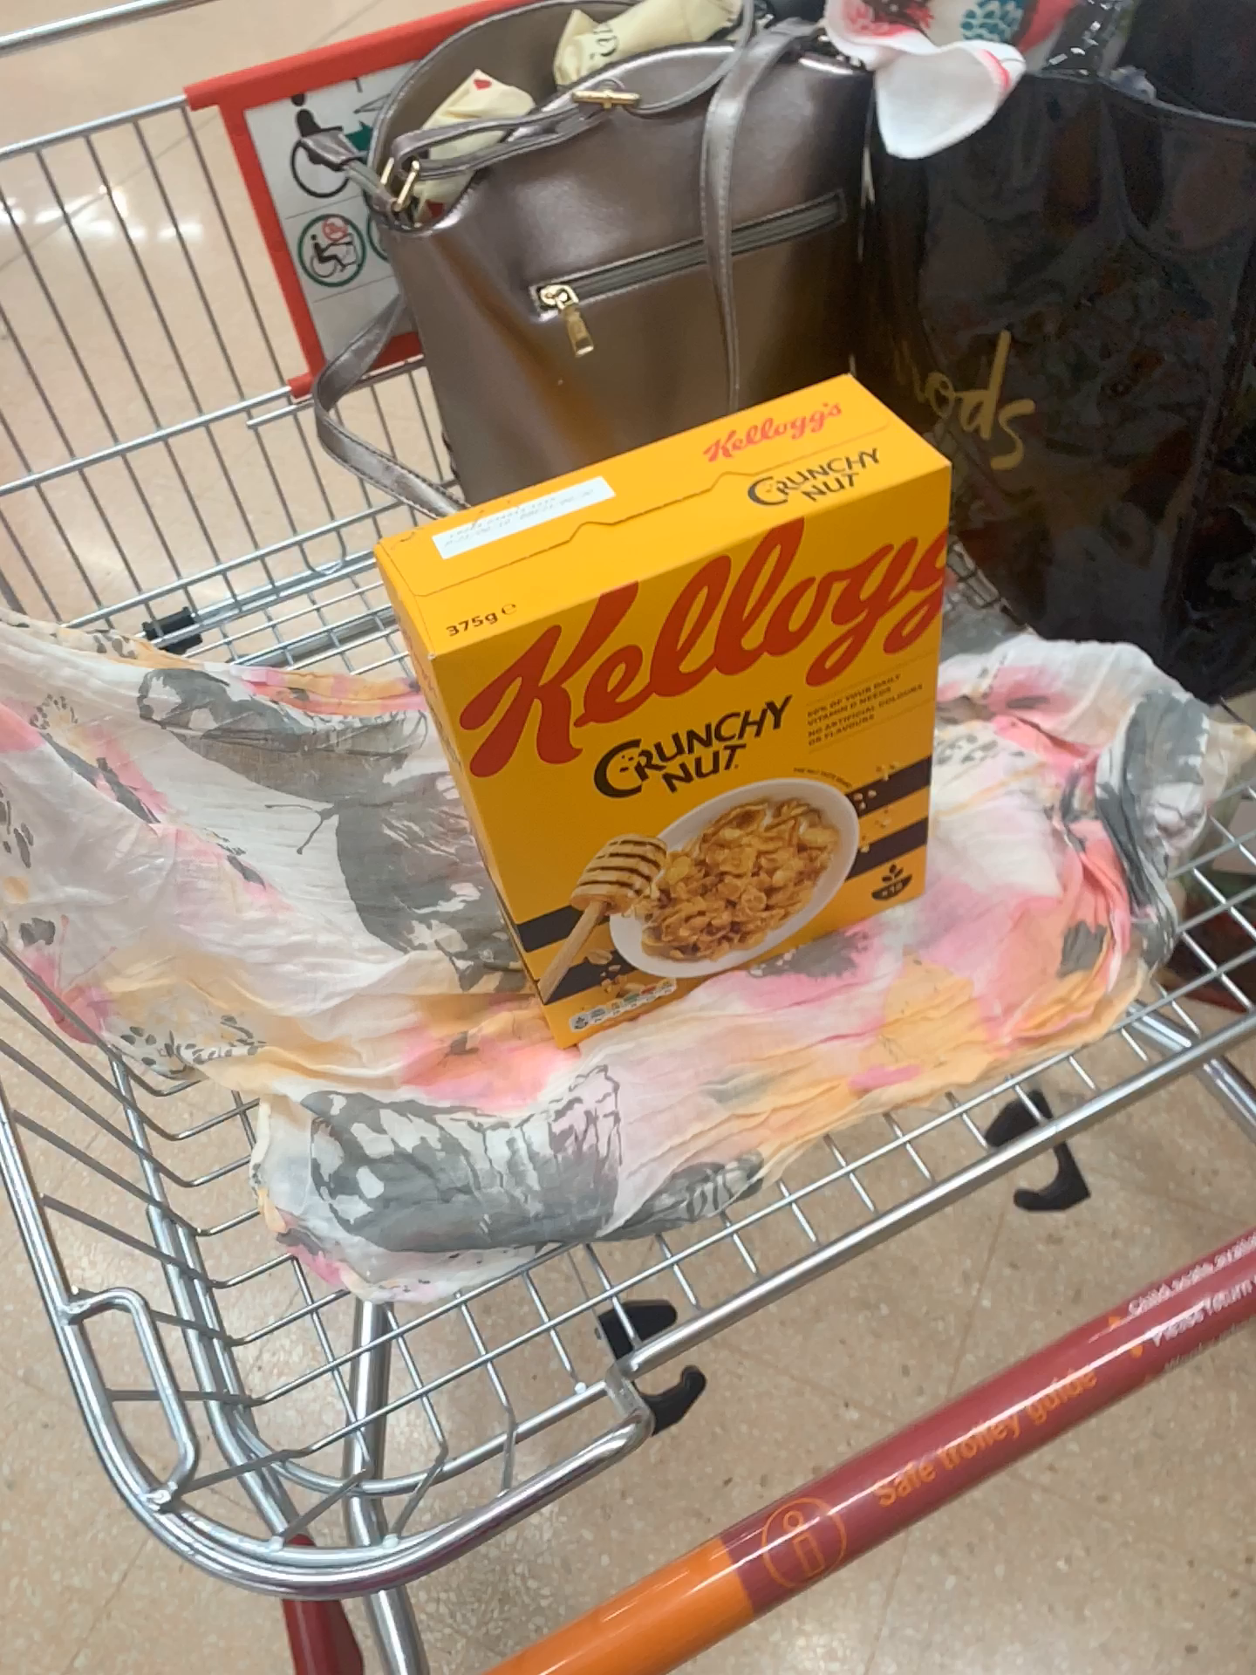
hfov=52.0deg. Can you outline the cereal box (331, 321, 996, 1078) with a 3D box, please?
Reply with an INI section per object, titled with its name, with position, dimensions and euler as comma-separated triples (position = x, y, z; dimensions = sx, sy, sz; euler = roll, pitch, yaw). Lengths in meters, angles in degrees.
[cereal box]
position = 0.025, -0.041, 0.530
dimensions = 0.210, 0.258, 0.081
euler = -23, 50, -11
